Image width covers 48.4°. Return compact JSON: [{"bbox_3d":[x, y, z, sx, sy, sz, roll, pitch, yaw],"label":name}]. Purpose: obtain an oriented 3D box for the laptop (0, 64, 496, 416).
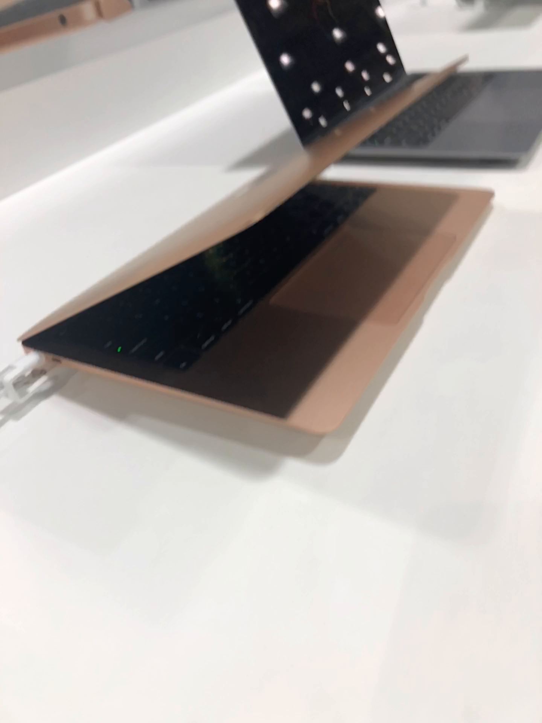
[{"bbox_3d":[0.003,-0.109,0.394,0.209,0.091,0.286,12,39,28],"label":"laptop"}]
